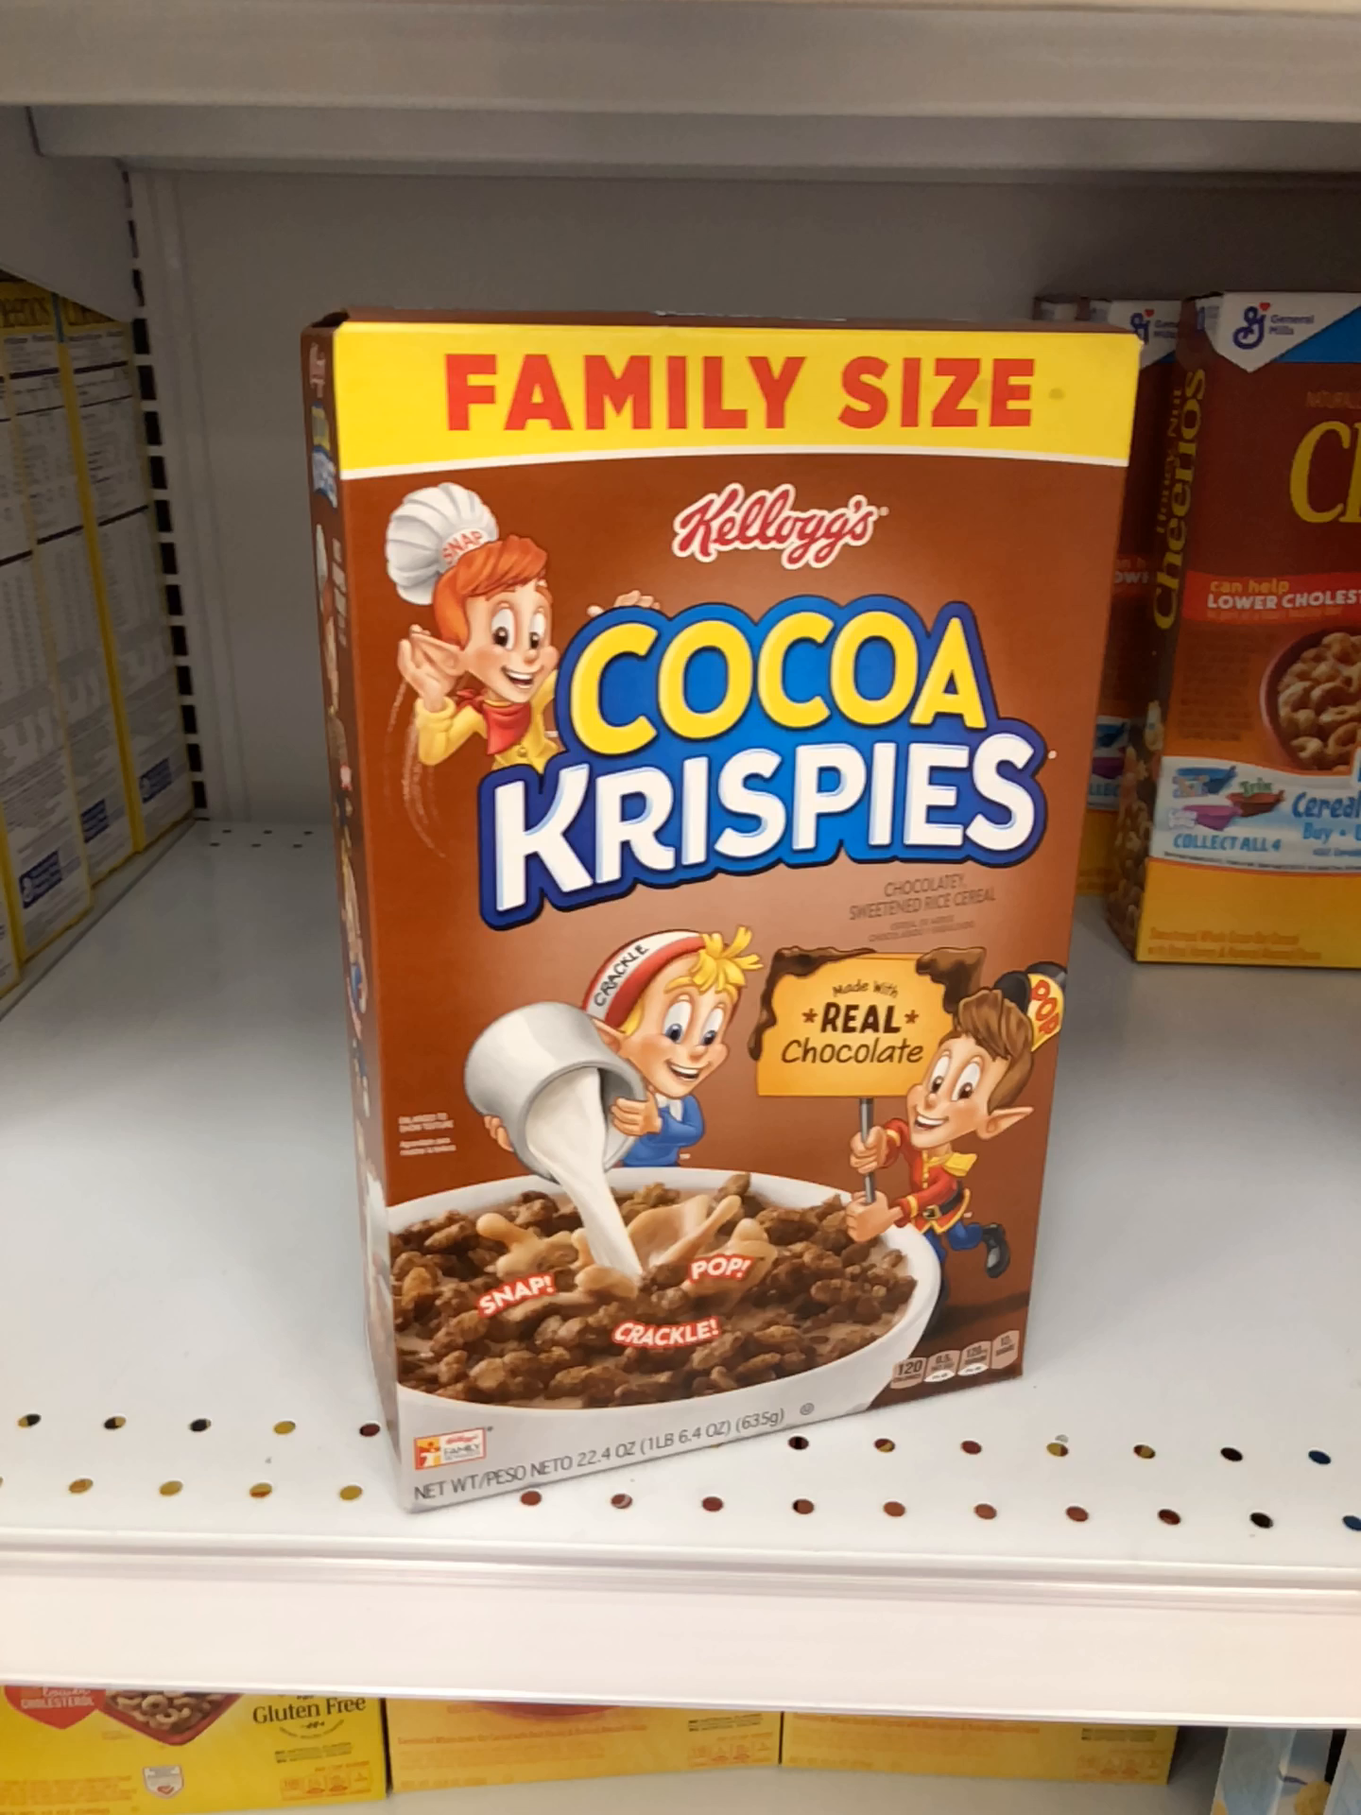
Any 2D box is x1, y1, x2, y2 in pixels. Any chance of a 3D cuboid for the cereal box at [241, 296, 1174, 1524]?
[{"bbox_3d":[0.005,0.000,0.400,0.200,0.299,0.070,-7,24,-16],"label":"cereal box"}]
